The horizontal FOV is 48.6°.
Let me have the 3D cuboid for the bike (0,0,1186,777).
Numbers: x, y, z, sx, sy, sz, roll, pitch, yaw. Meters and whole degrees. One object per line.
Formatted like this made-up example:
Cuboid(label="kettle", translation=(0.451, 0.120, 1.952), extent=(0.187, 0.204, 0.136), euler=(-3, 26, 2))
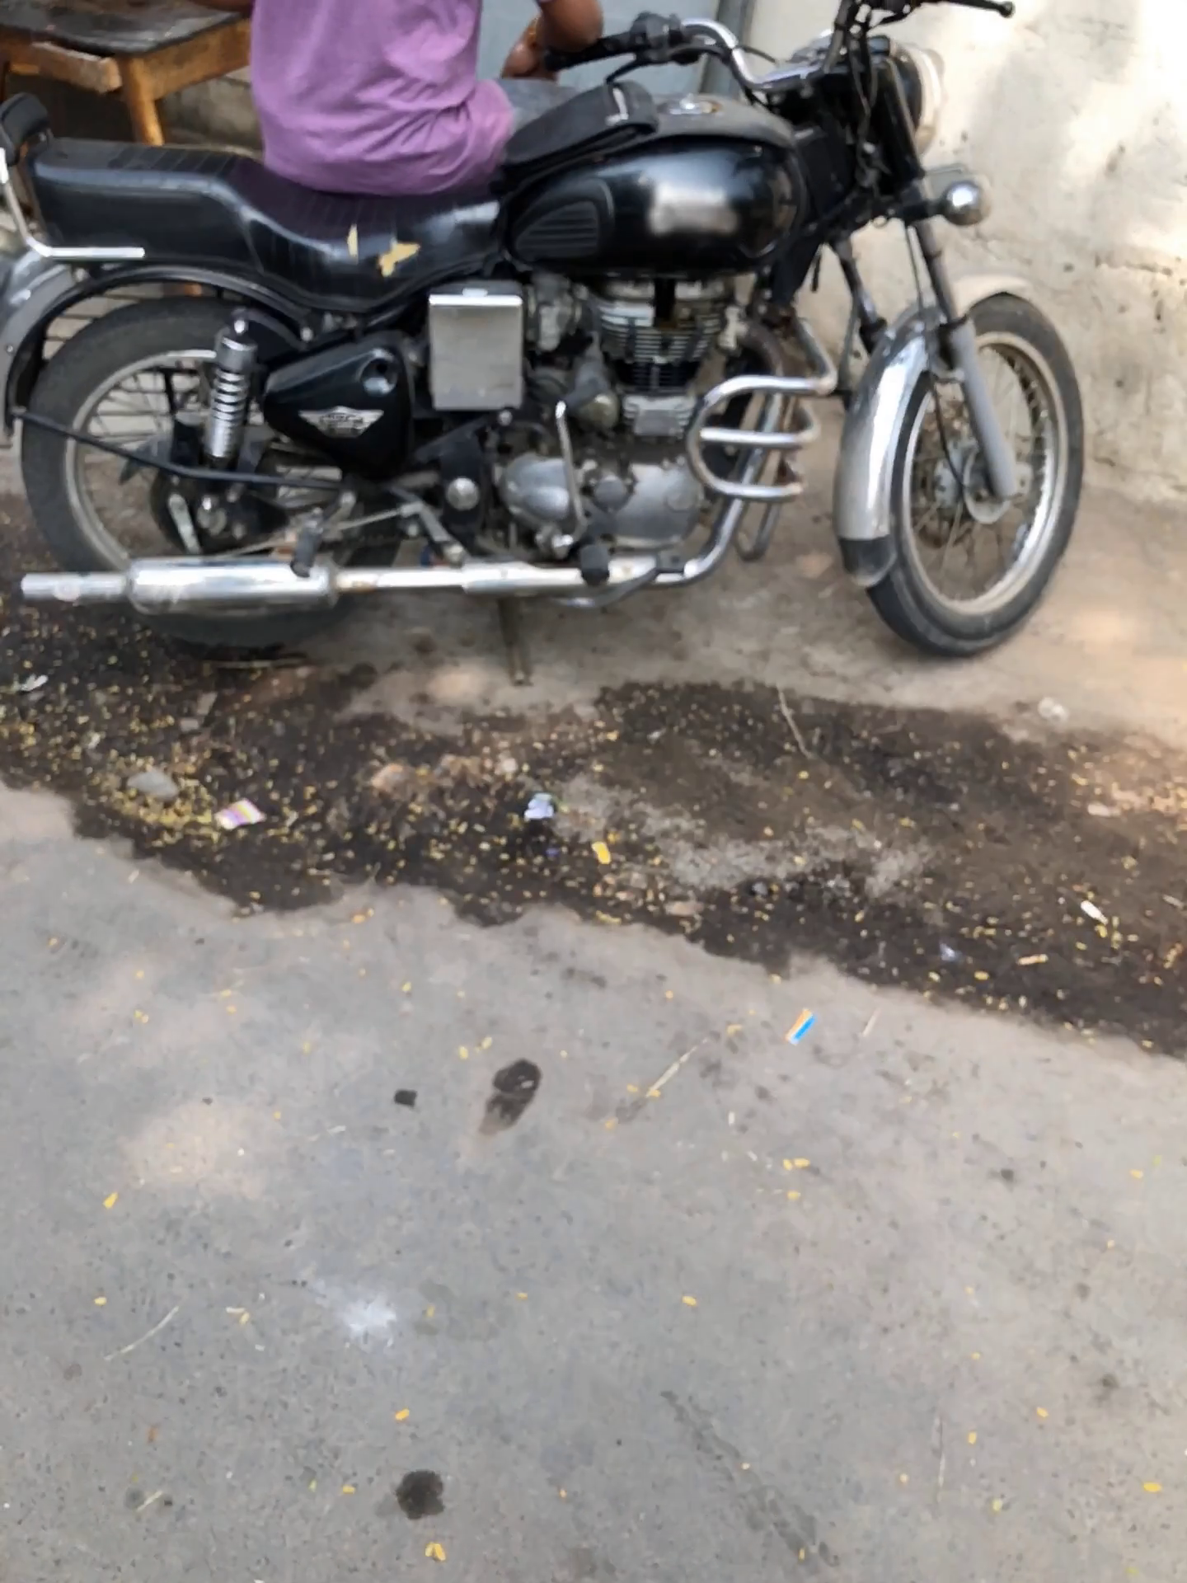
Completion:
Cuboid(label="bike", translation=(-0.028, -0.869, 2.308), extent=(1.920, 1.172, 0.844), euler=(-6, 39, -5))
